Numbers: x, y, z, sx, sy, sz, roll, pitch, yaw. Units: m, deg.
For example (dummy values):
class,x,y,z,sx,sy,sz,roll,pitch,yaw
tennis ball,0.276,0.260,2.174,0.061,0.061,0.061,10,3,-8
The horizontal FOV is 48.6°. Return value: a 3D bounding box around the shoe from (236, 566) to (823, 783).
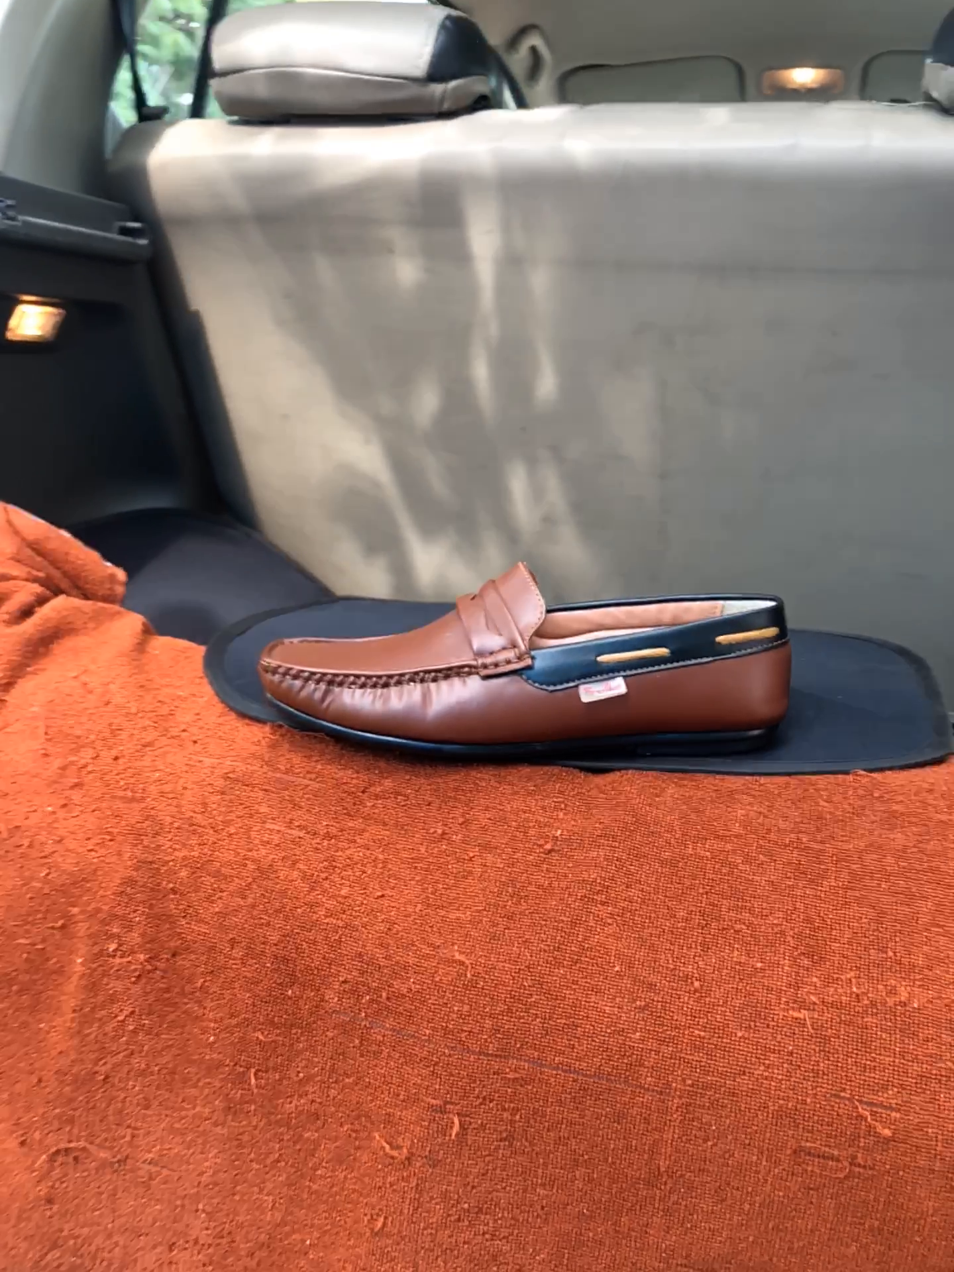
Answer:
class,x,y,z,sx,sy,sz,roll,pitch,yaw
shoe,0.025,0.015,0.563,0.280,0.070,0.110,-3,16,-4
